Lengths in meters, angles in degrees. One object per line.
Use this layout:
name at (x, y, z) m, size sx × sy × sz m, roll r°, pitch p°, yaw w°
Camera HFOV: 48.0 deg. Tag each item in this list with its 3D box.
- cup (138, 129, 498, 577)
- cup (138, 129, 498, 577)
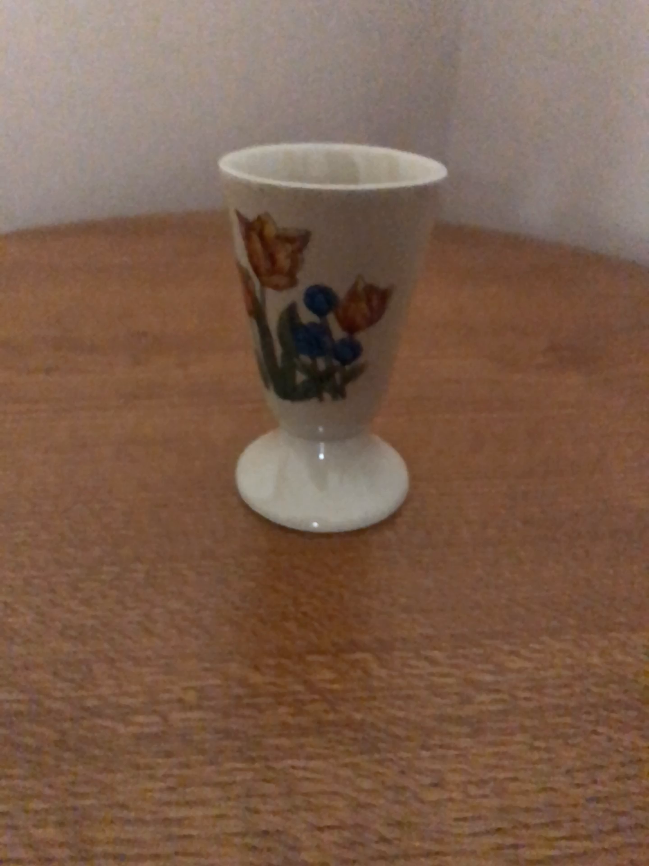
cup at (-0.002, -0.033, 0.257) m, size 0.080 × 0.119 × 0.080 m, roll 2°, pitch 31°, yaw -1°
cup at (-0.002, -0.033, 0.257) m, size 0.080 × 0.119 × 0.080 m, roll 2°, pitch 31°, yaw -1°
